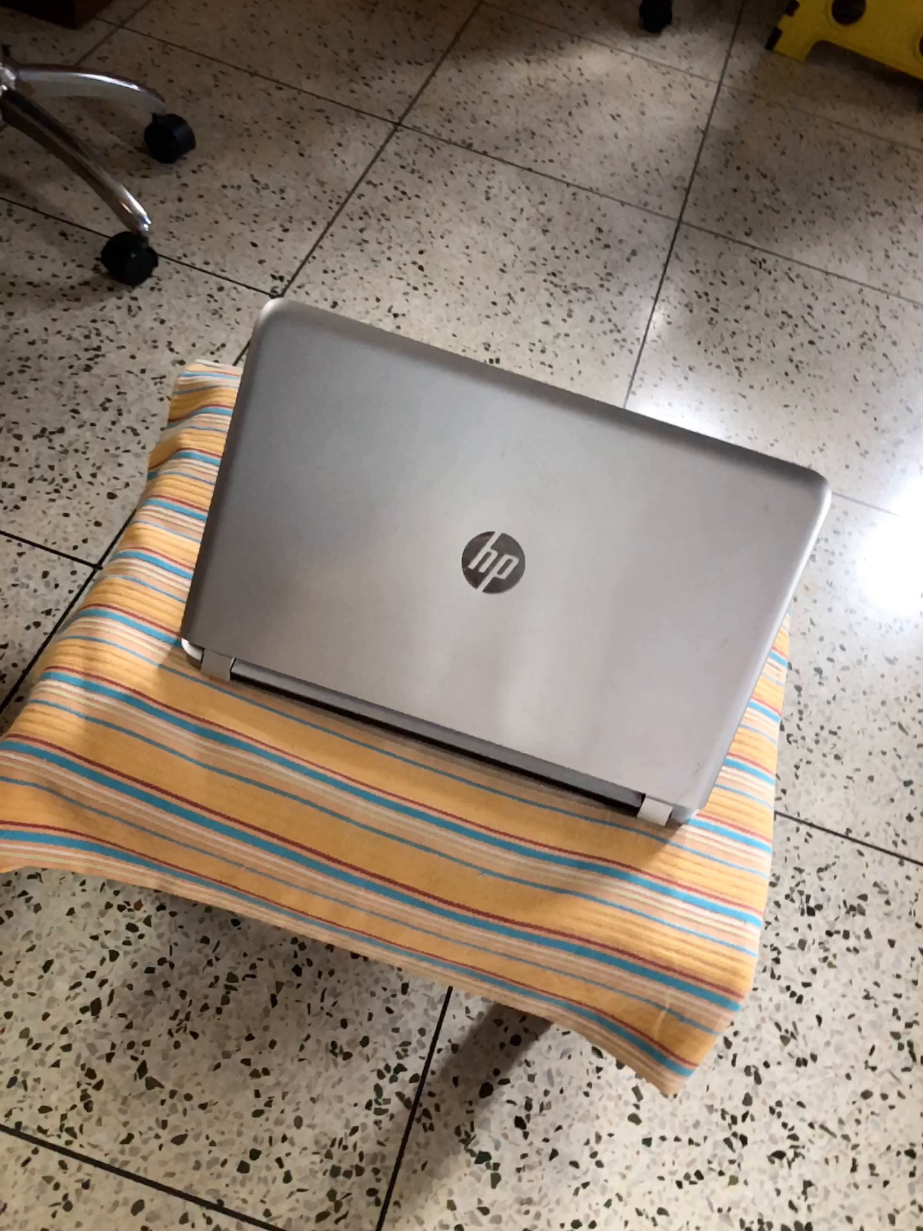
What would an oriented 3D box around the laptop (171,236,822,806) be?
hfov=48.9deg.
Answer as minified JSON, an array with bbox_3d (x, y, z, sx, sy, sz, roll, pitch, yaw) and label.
[{"bbox_3d":[0.027,-0.066,0.713,0.371,0.184,0.237,18,54,1],"label":"laptop"}]
